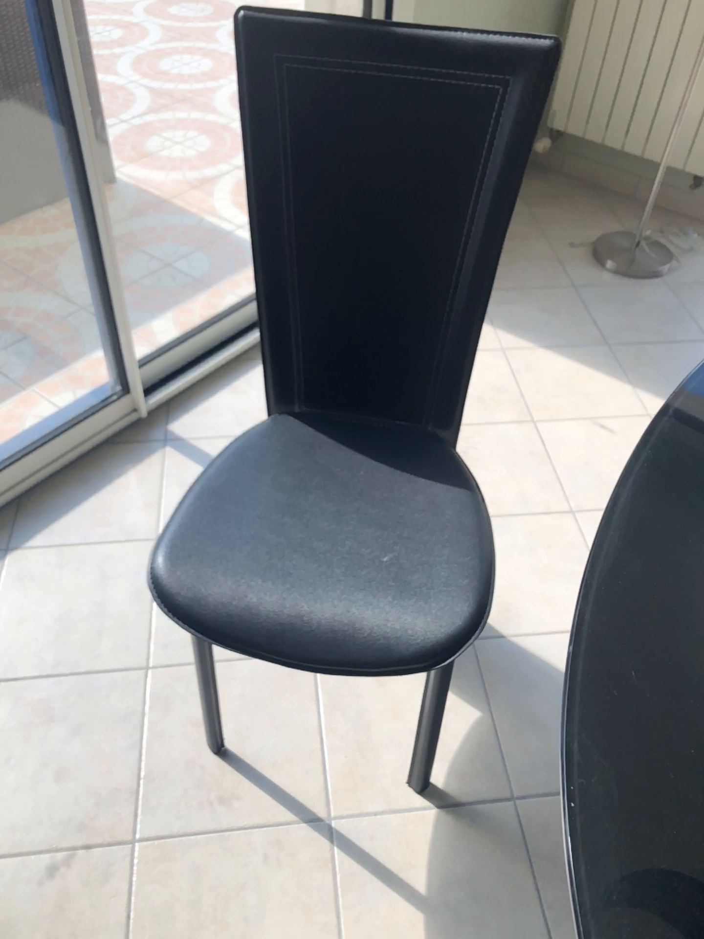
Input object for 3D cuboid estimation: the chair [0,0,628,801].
[{"bbox_3d":[-0.014,-0.045,1.032,0.450,0.894,0.503,9,43,5],"label":"chair"}]
